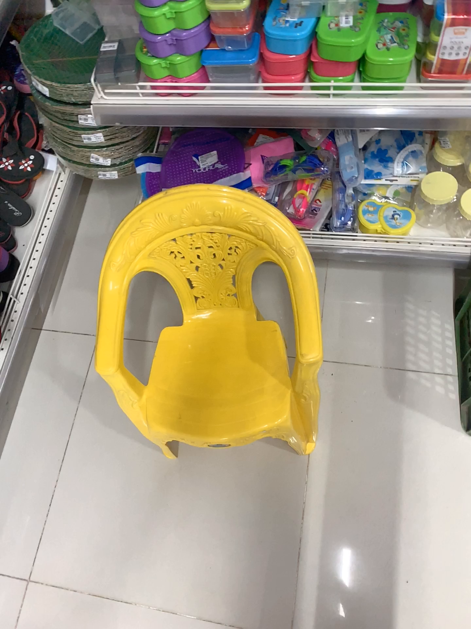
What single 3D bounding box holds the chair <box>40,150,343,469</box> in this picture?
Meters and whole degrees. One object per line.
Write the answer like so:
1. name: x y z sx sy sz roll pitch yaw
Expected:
1. chair: -0.036 0.038 0.942 0.420 0.449 0.460 -3 67 8
